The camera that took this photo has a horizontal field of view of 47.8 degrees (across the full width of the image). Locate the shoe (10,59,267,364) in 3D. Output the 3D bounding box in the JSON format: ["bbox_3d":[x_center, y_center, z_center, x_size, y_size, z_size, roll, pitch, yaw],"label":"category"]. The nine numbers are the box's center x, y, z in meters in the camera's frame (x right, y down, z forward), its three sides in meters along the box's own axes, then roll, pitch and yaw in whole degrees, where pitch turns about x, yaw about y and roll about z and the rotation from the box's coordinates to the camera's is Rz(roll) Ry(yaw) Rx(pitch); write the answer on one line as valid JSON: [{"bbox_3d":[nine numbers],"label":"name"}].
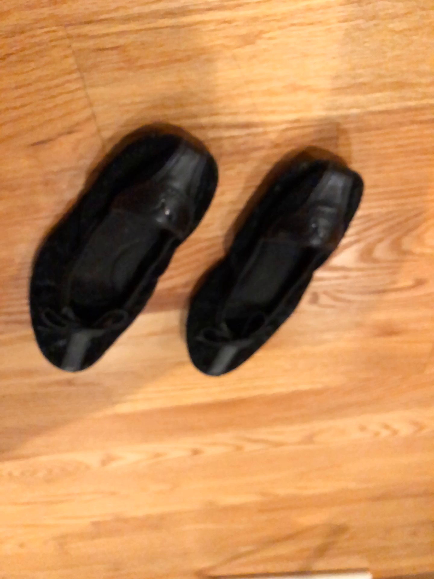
[{"bbox_3d":[-0.069,-0.036,0.362,0.100,0.050,0.221,19,132,-24],"label":"shoe"}]

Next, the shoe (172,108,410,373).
[{"bbox_3d":[0.041,-0.020,0.391,0.093,0.046,0.221,11,134,-18],"label":"shoe"}]
